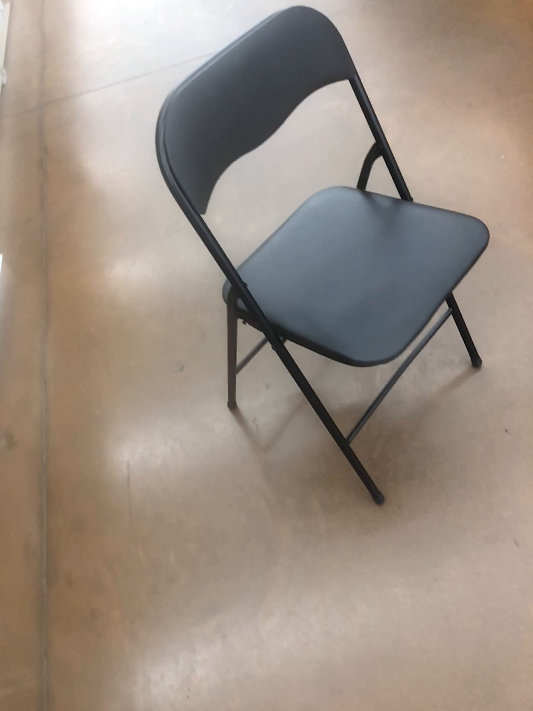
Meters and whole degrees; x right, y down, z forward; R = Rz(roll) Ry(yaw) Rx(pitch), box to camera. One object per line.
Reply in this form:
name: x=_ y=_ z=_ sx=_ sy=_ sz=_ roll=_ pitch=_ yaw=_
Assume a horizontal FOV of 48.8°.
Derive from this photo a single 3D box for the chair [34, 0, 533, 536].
chair: x=0.106 y=-0.162 z=1.063 sx=0.491 sy=0.758 sz=0.520 roll=29 pitch=64 yaw=32
